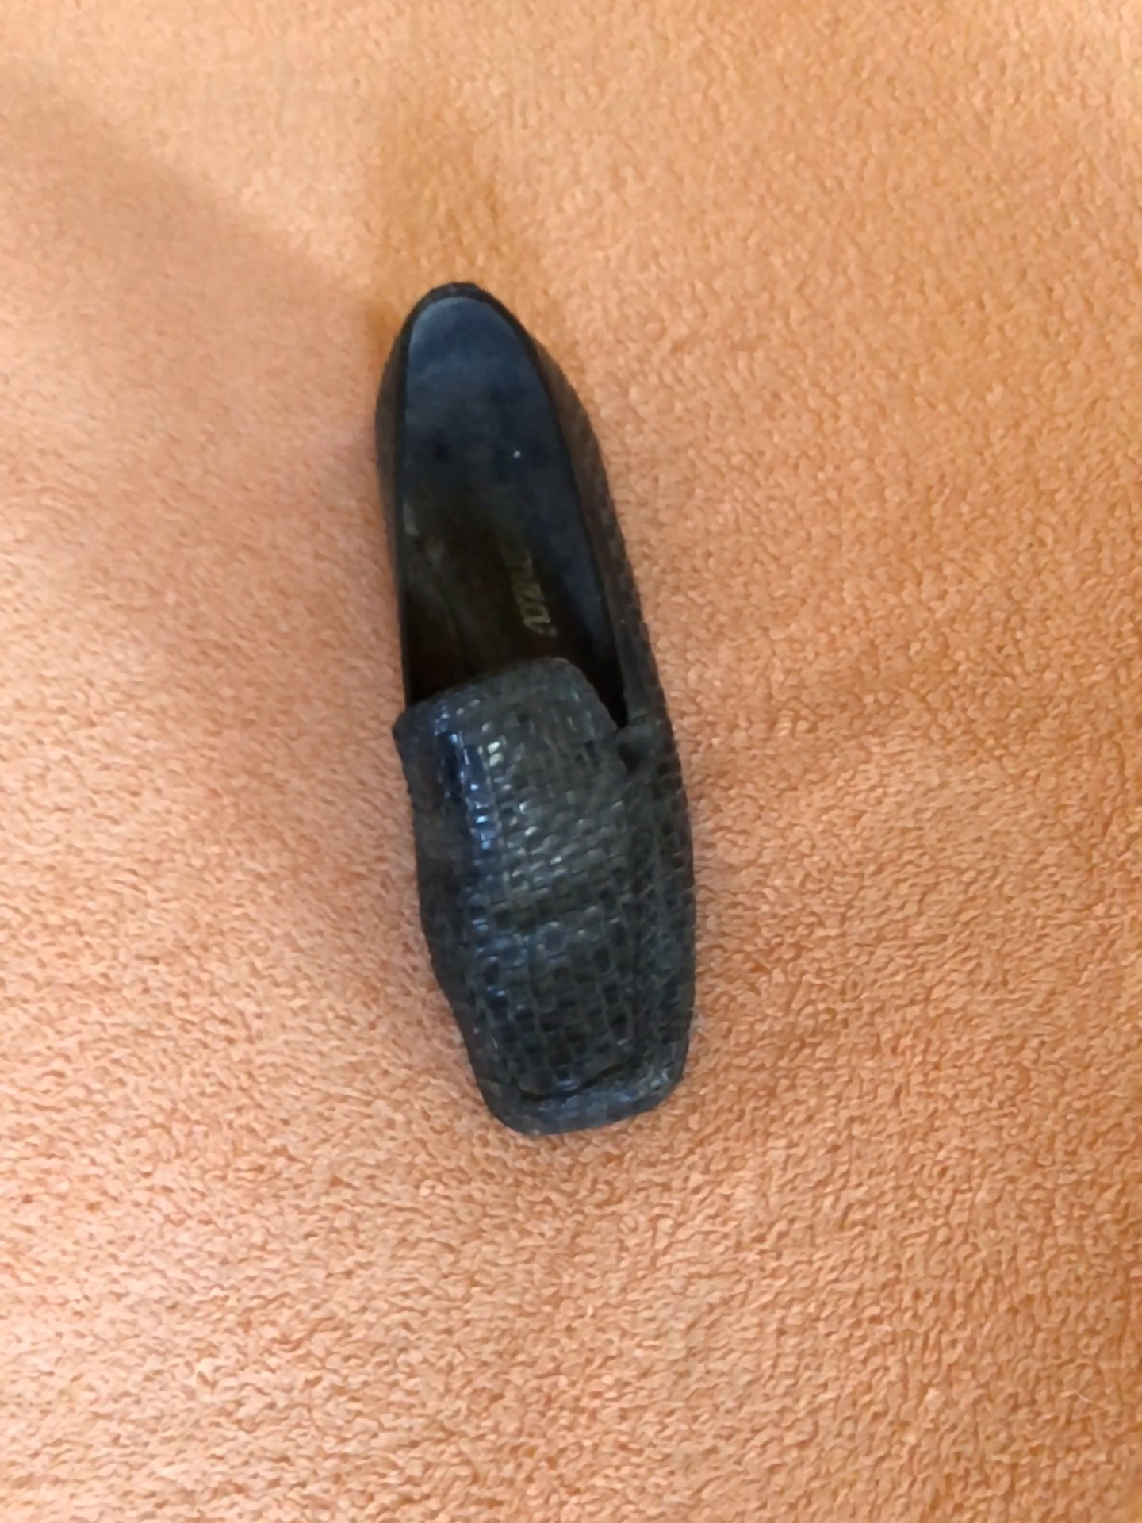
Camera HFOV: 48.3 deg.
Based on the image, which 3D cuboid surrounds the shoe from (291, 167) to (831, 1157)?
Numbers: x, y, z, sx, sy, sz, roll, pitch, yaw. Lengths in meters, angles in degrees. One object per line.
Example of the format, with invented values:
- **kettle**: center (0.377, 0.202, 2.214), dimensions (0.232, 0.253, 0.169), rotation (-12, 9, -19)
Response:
- **shoe**: center (-0.009, -0.031, 0.383), dimensions (0.100, 0.090, 0.270), rotation (-10, 71, 0)
